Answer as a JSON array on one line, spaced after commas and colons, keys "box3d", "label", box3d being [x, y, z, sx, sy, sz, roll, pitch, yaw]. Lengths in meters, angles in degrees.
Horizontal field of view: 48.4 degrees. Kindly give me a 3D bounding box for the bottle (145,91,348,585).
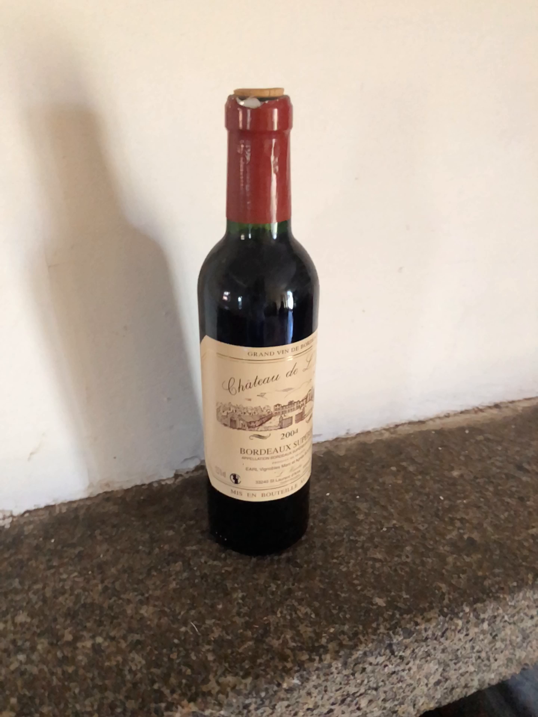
[{"box3d": [-0.008, -0.005, 0.295, 0.060, 0.229, 0.060, -1, 26, 0], "label": "bottle"}]
